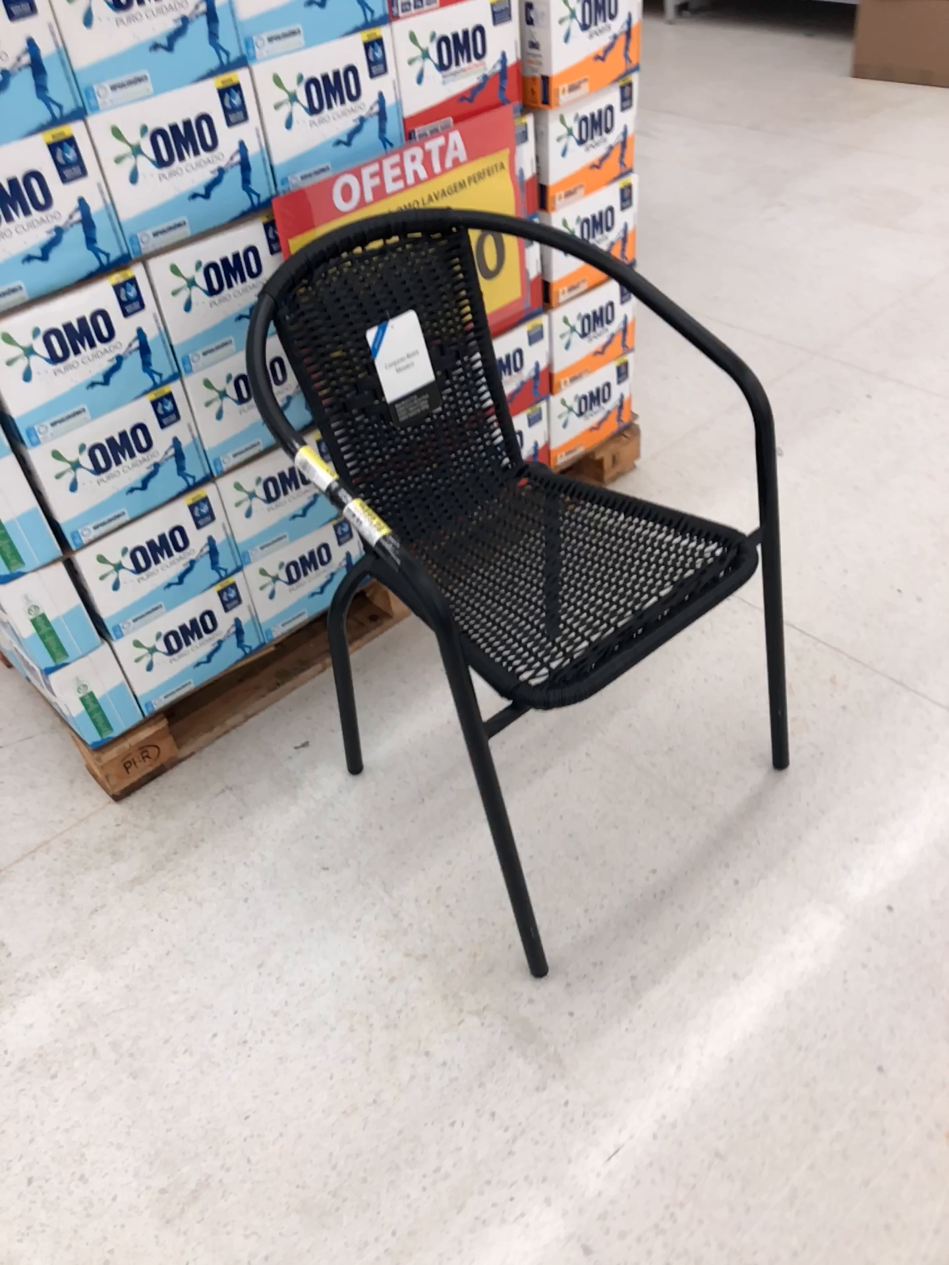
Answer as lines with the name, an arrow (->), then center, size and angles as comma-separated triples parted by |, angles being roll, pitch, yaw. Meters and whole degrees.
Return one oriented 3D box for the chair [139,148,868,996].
chair -> 0.052, -0.083, 1.243 | 0.502, 0.724, 0.502 | -33, 47, -26
